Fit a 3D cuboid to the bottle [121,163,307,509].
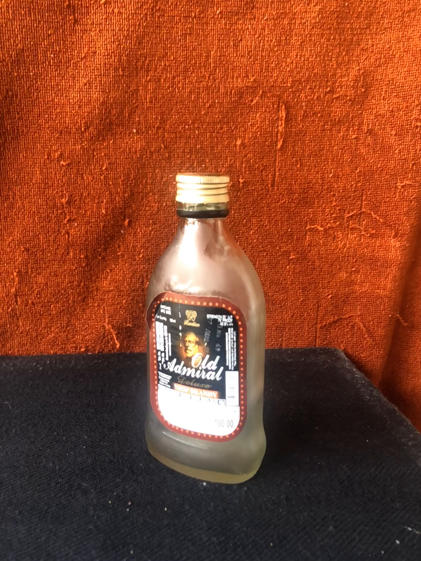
[{"bbox_3d":[0.000,0.022,0.230,0.070,0.149,0.050,10,17,21],"label":"bottle"}]
